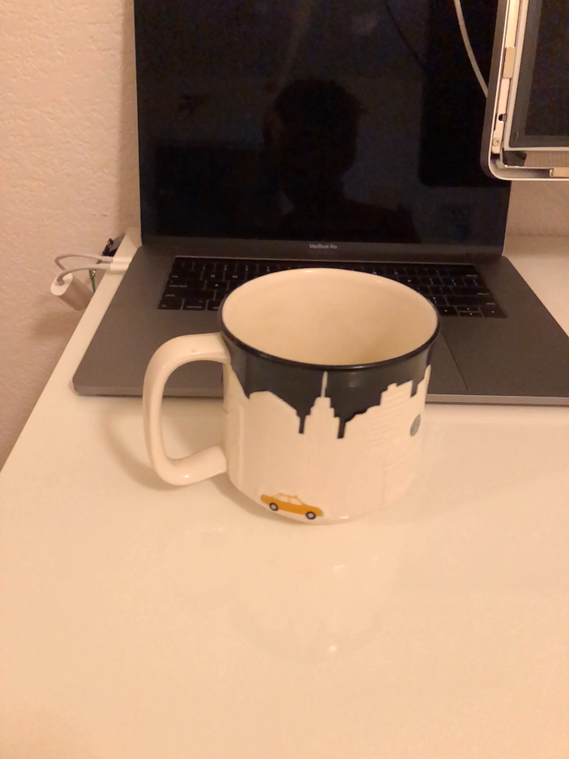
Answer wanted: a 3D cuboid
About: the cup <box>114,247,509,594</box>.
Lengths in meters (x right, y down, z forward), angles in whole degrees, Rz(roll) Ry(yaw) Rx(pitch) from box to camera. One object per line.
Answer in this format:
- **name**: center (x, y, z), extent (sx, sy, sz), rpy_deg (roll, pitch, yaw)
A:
- **cup**: center (0.006, 0.010, 0.315), extent (0.150, 0.099, 0.111), rpy_deg (-11, 35, -18)
